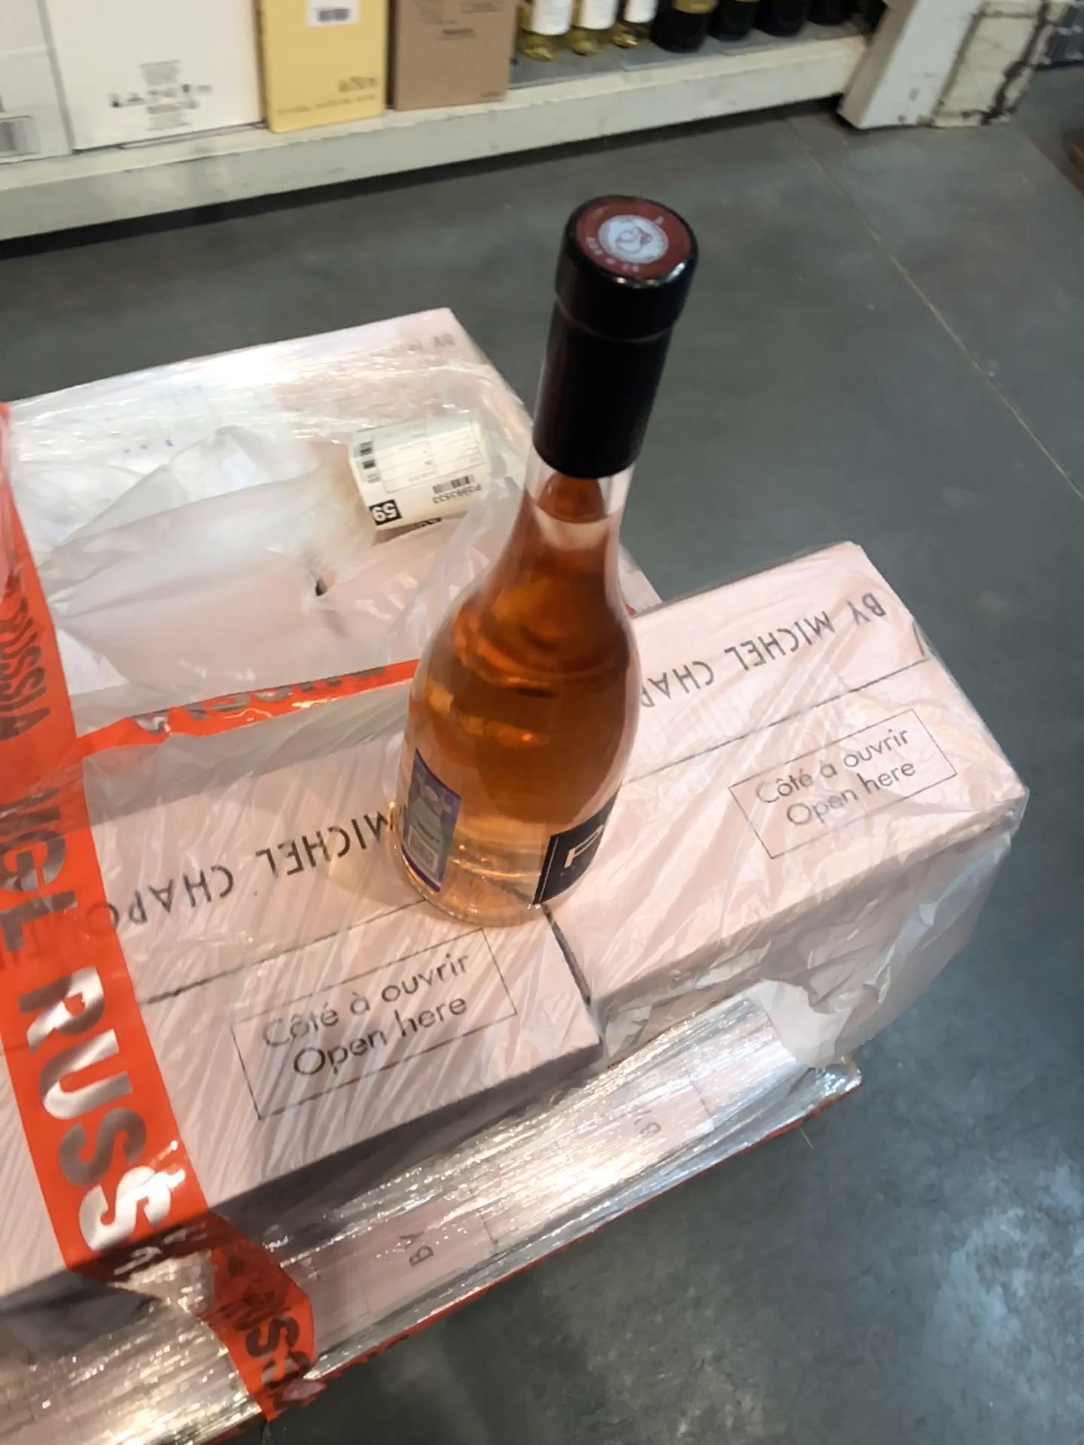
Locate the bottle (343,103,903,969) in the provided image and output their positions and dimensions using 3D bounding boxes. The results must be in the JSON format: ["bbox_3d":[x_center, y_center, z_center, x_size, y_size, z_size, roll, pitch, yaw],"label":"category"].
[{"bbox_3d":[0.003,-0.028,0.387,0.096,0.279,0.100,4,60,-7],"label":"bottle"}]
